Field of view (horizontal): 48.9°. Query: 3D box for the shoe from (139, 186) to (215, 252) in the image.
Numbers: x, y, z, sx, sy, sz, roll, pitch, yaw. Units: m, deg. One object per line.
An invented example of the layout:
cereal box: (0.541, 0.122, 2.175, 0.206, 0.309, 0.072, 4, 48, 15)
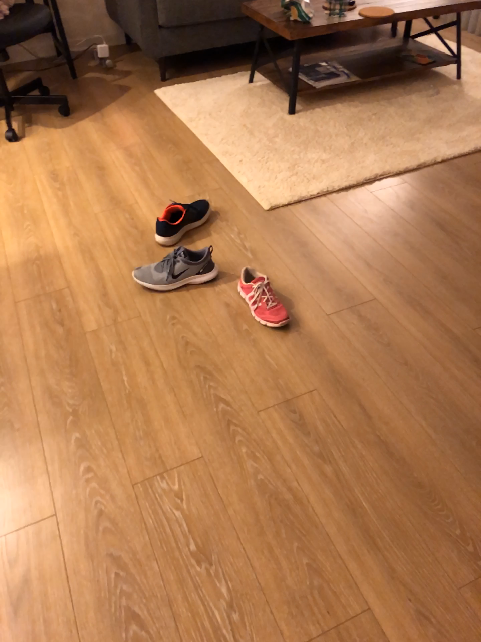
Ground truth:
shoe: (-0.246, -0.412, 2.106, 0.130, 0.099, 0.301, 24, 49, 25)

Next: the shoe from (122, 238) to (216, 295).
shoe: (-0.249, -0.193, 1.856, 0.306, 0.109, 0.131, -7, 43, -5)

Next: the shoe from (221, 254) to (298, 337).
shoe: (0.058, -0.091, 1.755, 0.140, 0.090, 0.281, -19, 46, -17)
